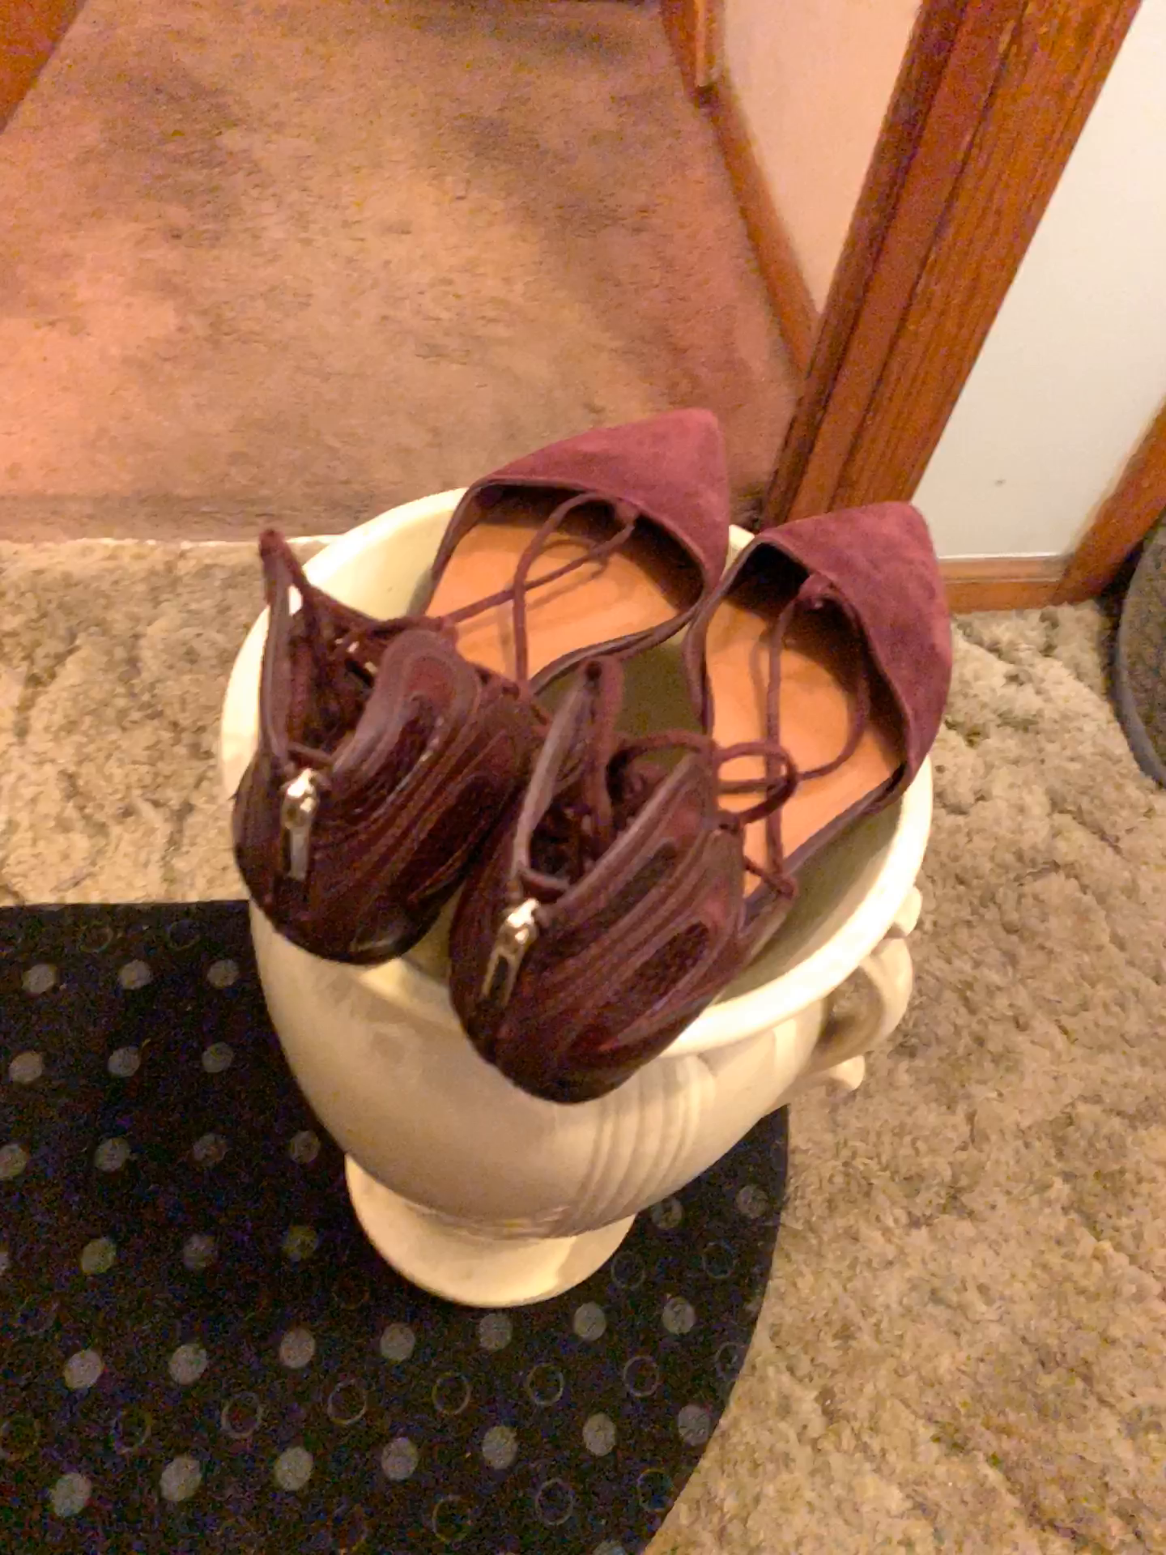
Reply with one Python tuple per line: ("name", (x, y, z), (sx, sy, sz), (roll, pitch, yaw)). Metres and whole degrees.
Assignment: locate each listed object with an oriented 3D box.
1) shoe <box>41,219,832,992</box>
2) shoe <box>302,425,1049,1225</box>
("shoe", (-0.018, -0.077, 0.358), (0.090, 0.069, 0.282), (26, 46, 9))
("shoe", (0.050, -0.017, 0.352), (0.090, 0.069, 0.282), (32, 41, 13))
